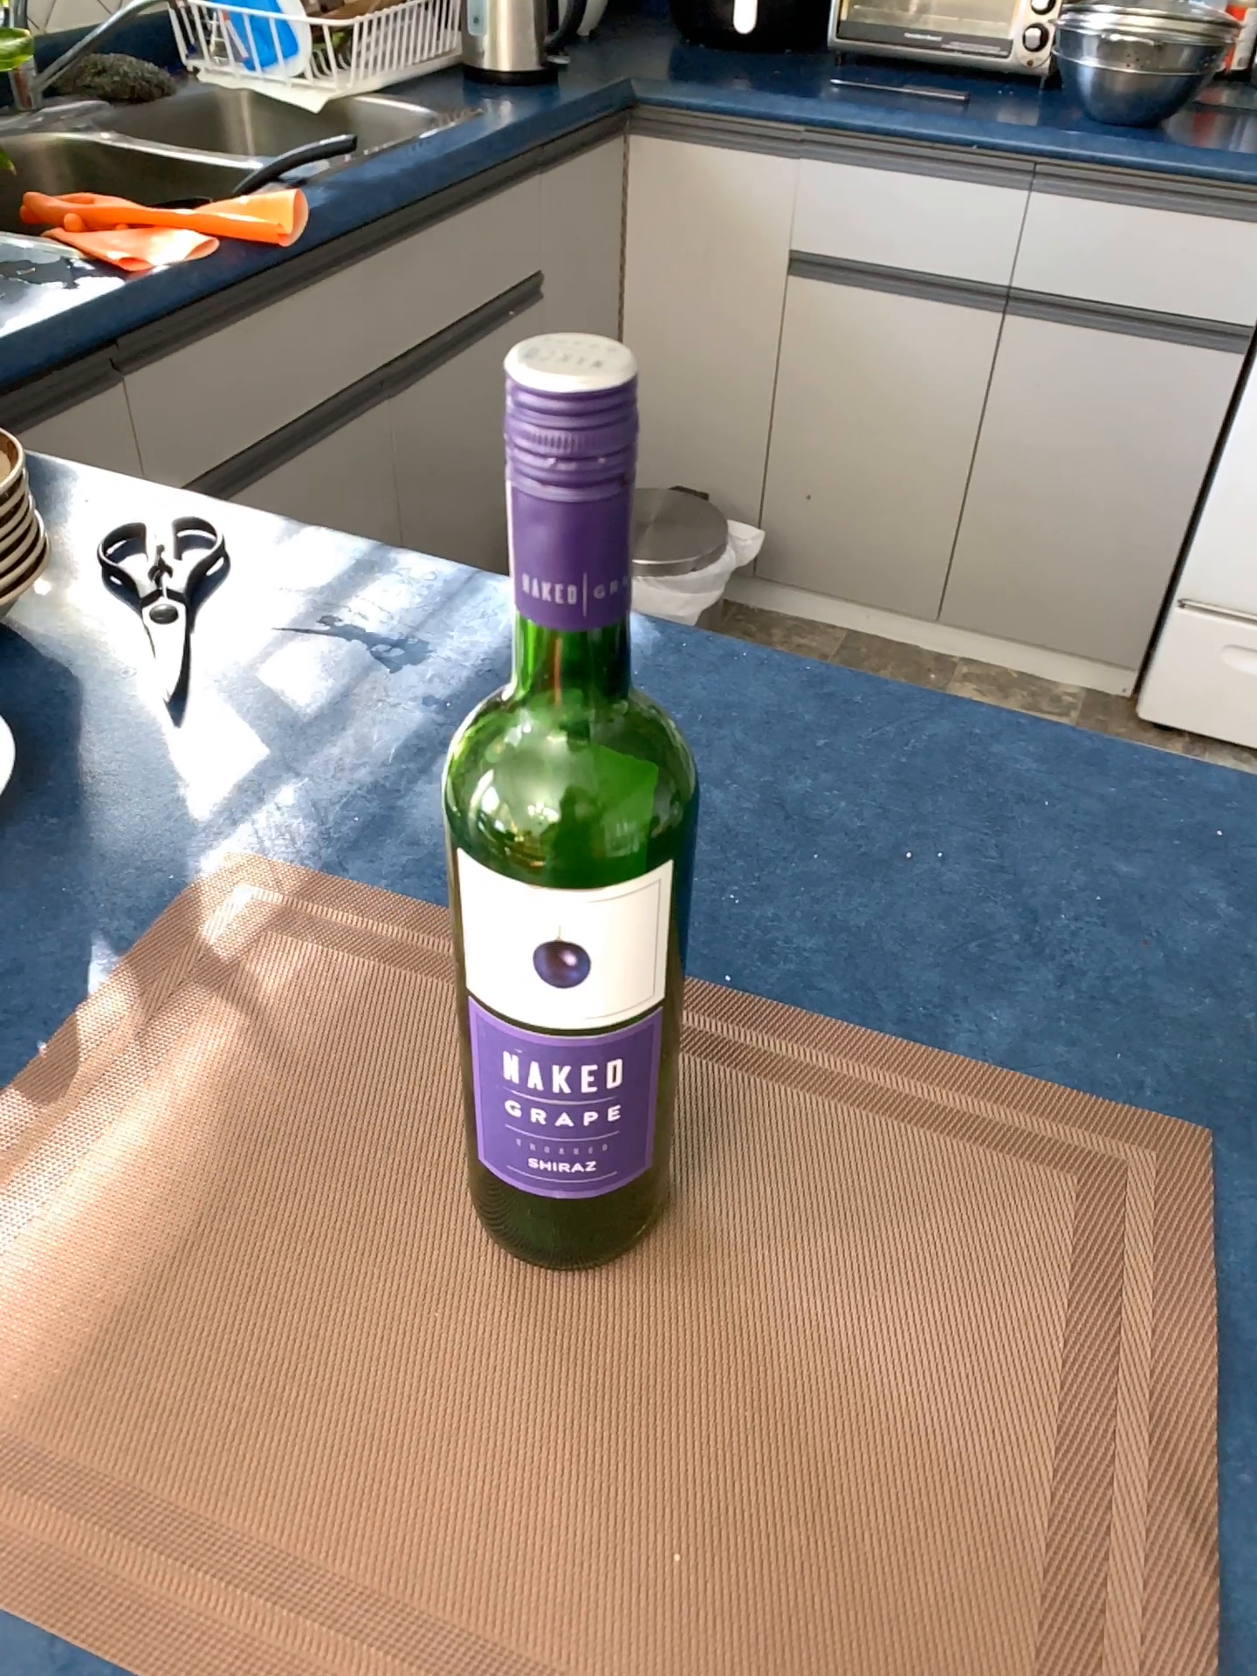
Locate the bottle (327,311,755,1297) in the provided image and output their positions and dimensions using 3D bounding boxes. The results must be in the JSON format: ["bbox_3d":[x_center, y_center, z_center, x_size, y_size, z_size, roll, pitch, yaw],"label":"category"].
[{"bbox_3d":[-0.020,0.014,0.363,0.080,0.287,0.081,1,40,-1],"label":"bottle"}]
